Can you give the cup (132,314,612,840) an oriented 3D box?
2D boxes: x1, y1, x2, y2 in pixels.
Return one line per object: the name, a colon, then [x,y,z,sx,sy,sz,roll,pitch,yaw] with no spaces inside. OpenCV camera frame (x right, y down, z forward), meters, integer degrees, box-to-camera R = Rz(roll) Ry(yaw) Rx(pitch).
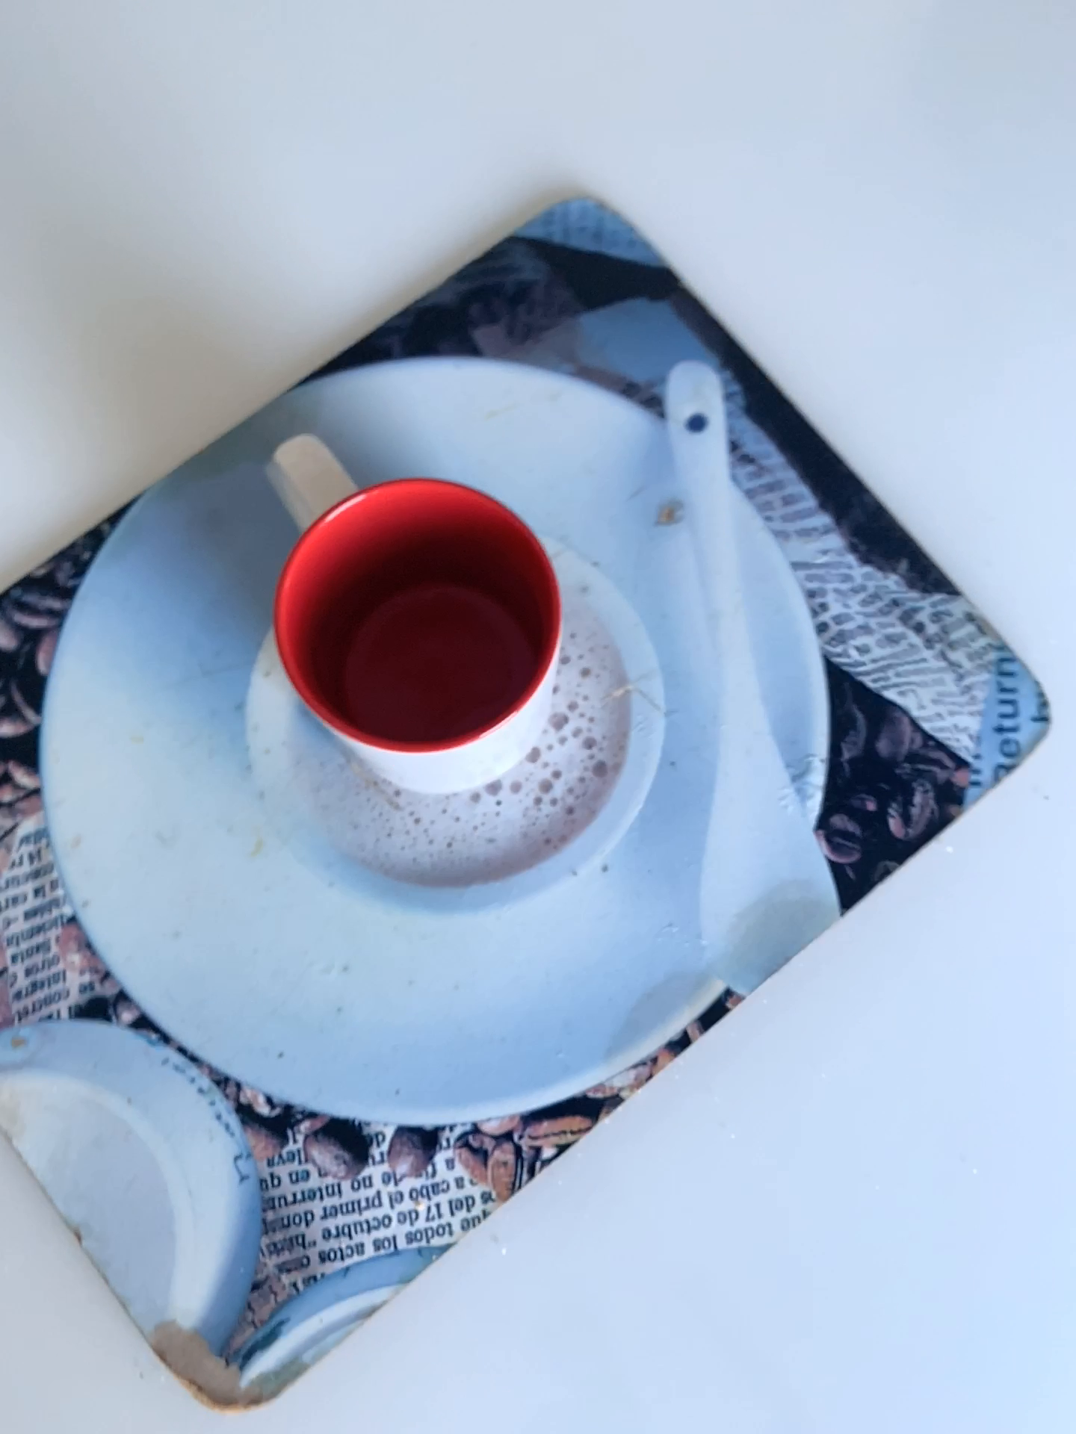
cup: [-0.047,-0.035,0.359,0.077,0.115,0.117,-36,82,-7]
